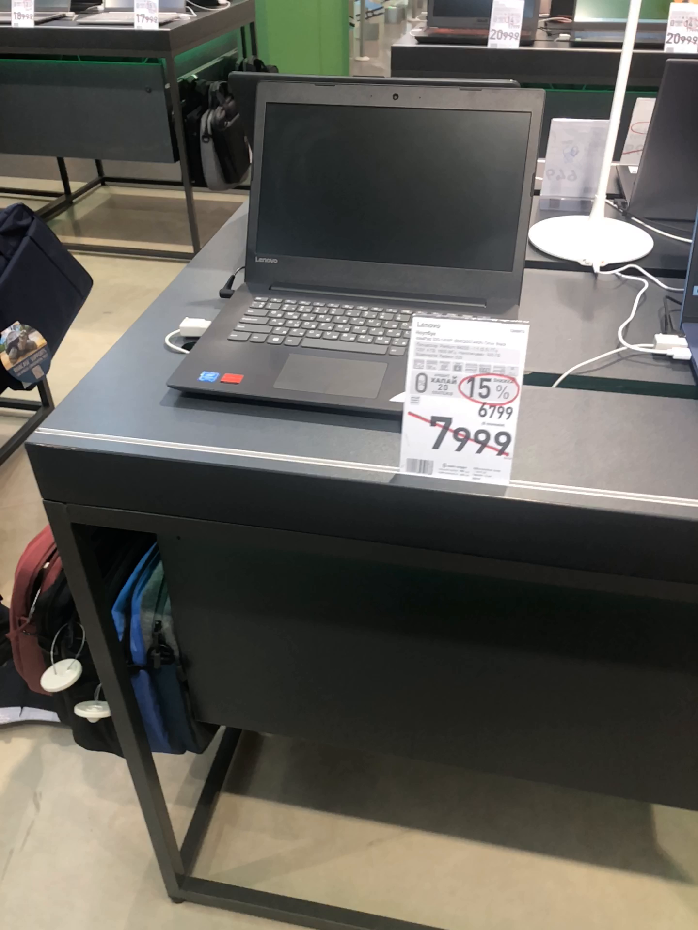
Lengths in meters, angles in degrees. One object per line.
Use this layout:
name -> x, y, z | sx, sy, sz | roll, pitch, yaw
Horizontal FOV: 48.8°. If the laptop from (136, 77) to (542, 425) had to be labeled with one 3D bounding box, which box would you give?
laptop -> 0.021, -0.251, 0.819 | 0.330, 0.205, 0.363 | 7, 39, 10
